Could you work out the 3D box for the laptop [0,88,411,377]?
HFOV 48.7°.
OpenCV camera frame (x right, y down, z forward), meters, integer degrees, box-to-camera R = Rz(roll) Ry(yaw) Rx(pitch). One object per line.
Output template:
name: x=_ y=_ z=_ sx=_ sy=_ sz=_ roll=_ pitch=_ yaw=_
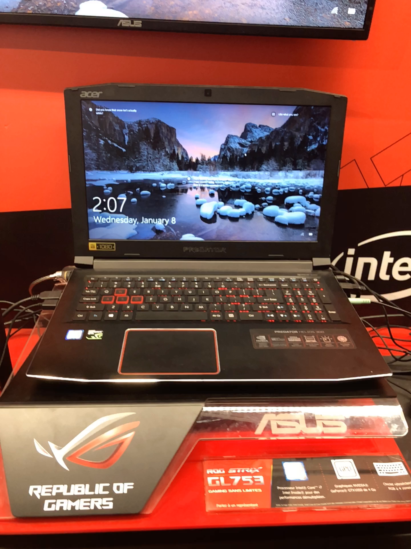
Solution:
laptop: x=0.007 y=-0.073 z=0.551 sx=0.385 sy=0.240 sz=0.295 roll=1 pitch=28 yaw=-3
